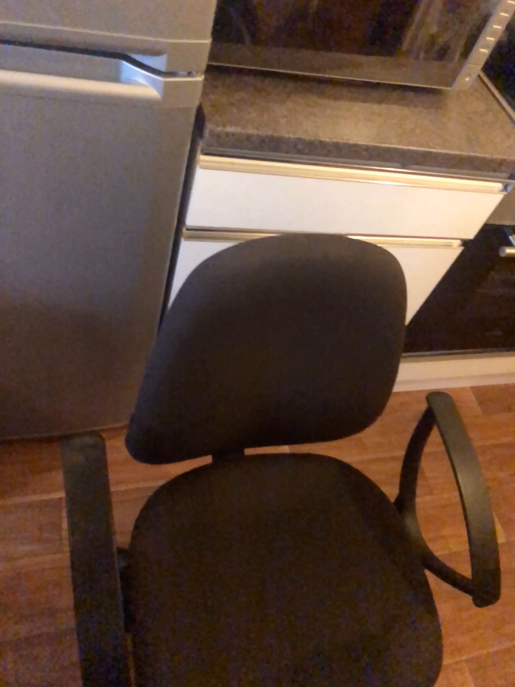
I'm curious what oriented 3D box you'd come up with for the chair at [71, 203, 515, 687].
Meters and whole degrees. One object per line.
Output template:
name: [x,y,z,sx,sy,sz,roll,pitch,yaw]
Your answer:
chair: [0.051,0.338,0.934,0.638,0.882,0.644,-3,56,-20]
